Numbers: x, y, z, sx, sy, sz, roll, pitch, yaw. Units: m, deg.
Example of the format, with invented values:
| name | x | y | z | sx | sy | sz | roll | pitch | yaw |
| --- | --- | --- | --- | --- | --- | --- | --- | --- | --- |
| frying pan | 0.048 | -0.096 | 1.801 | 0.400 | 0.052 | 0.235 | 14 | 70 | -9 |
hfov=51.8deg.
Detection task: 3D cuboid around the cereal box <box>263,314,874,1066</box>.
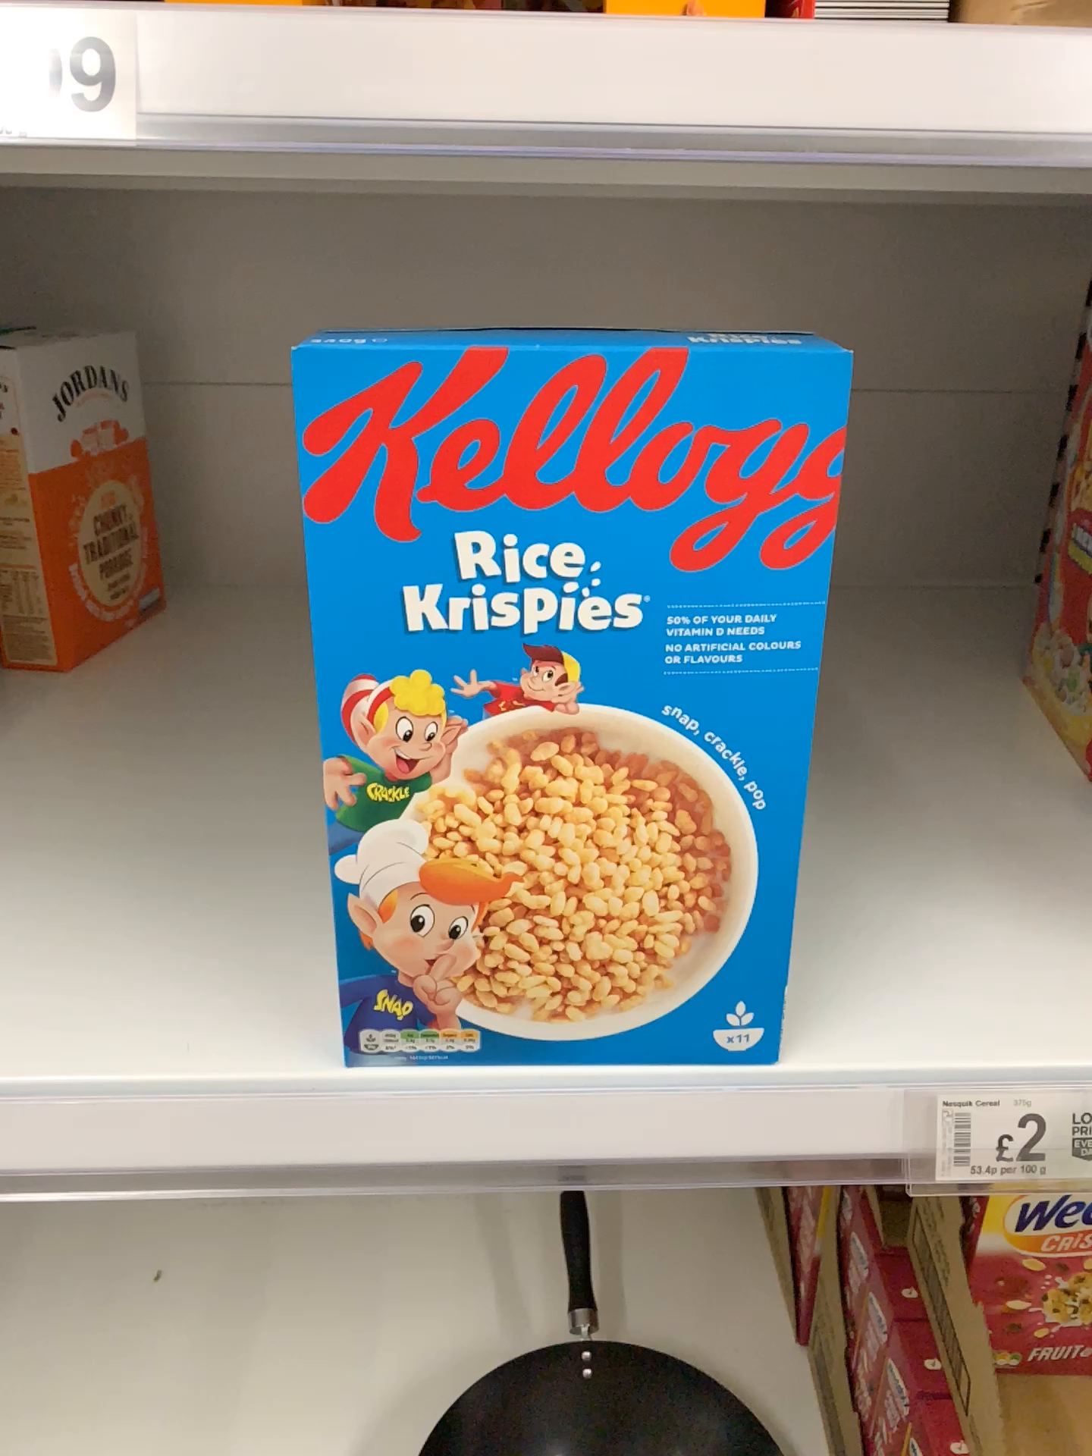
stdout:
| name | x | y | z | sx | sy | sz | roll | pitch | yaw |
| --- | --- | --- | --- | --- | --- | --- | --- | --- | --- |
| cereal box | 0.005 | -0.006 | 0.457 | 0.200 | 0.298 | 0.071 | 0 | 23 | -1 |
